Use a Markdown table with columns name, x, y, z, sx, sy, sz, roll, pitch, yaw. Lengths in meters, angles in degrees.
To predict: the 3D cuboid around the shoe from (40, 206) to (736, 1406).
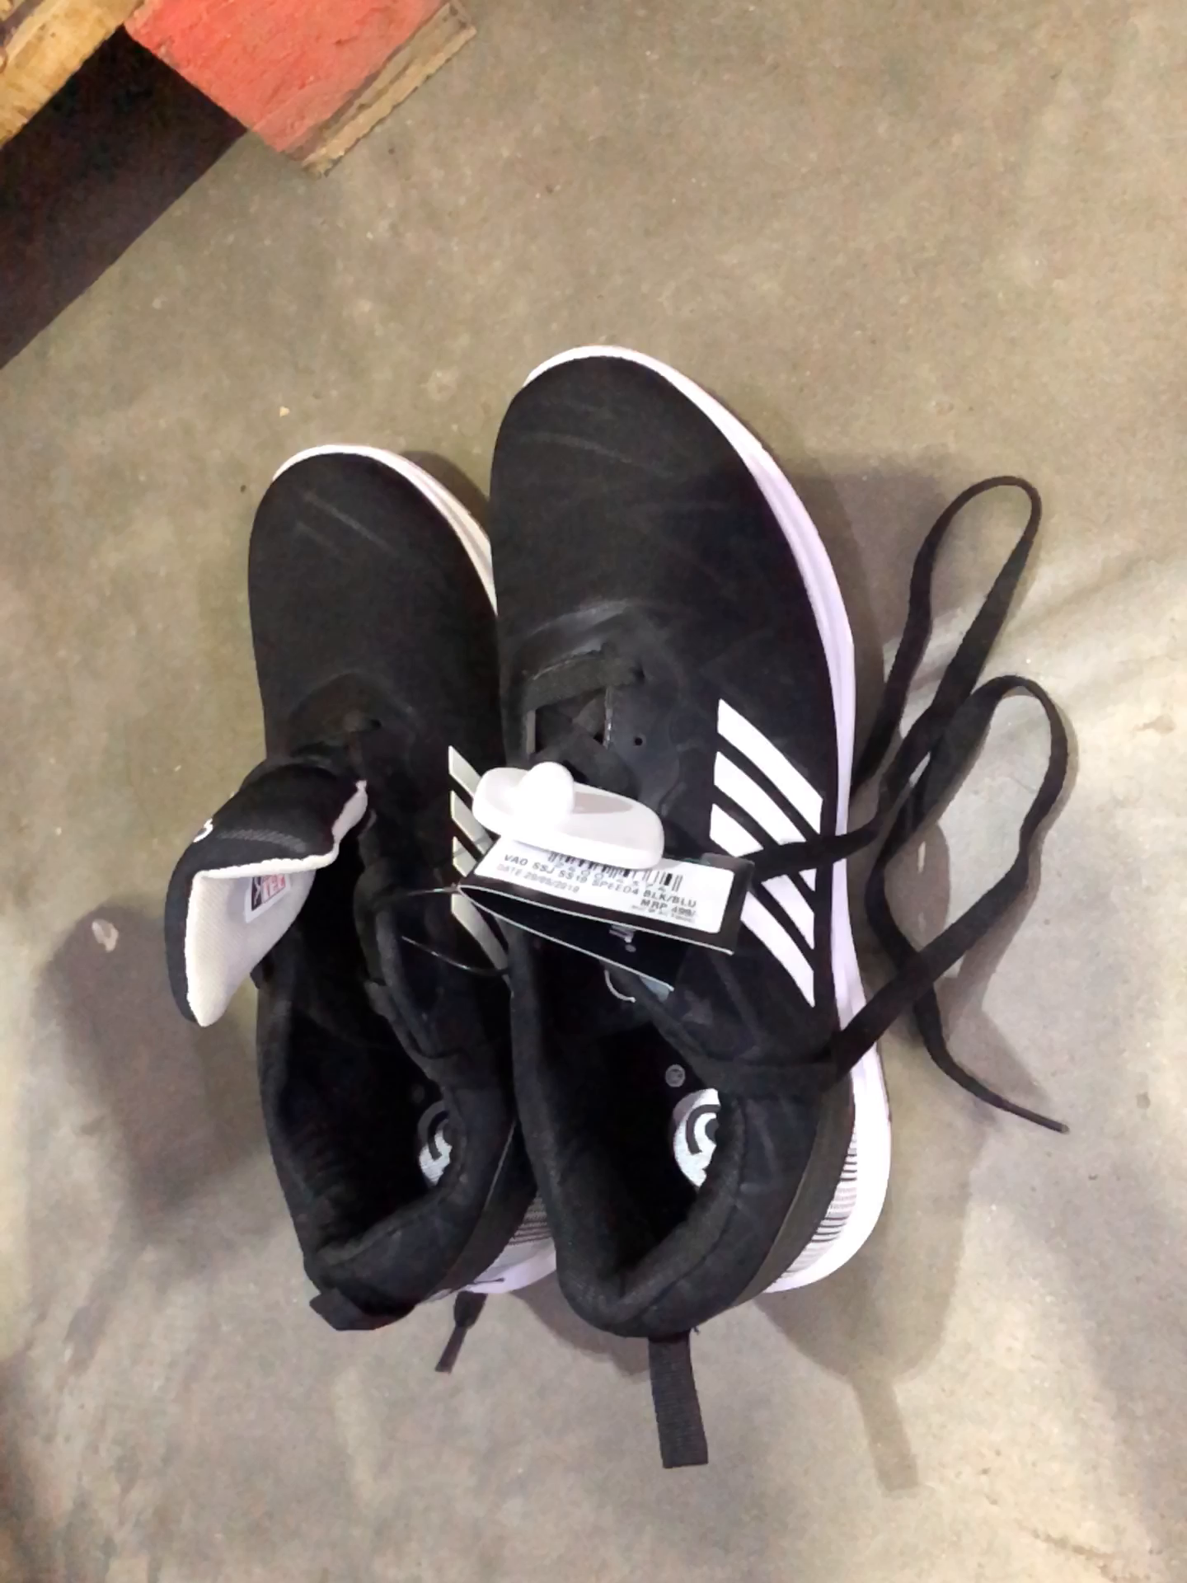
| name | x | y | z | sx | sy | sz | roll | pitch | yaw |
| --- | --- | --- | --- | --- | --- | --- | --- | --- | --- |
| shoe | -0.071 | 0.005 | 0.437 | 0.120 | 0.130 | 0.330 | -20 | 74 | 25 |

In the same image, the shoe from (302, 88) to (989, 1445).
| name | x | y | z | sx | sy | sz | roll | pitch | yaw |
| --- | --- | --- | --- | --- | --- | --- | --- | --- | --- |
| shoe | 0.015 | -0.004 | 0.380 | 0.110 | 0.130 | 0.320 | -14 | 77 | 26 |
